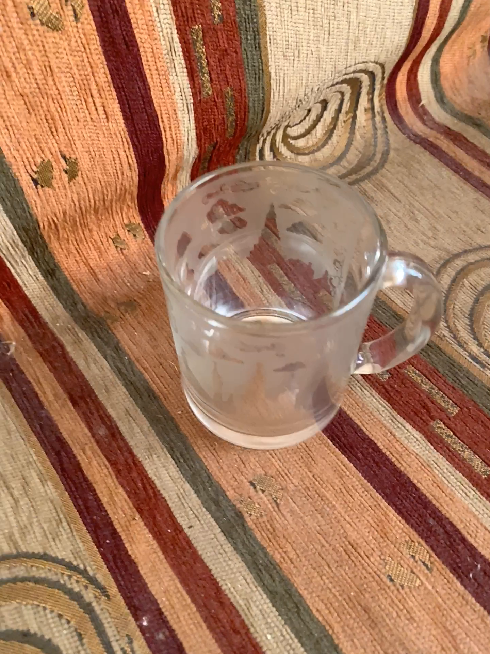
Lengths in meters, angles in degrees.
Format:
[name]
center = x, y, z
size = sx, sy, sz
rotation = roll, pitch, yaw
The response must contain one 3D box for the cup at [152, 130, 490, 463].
[cup]
center = 0.028, -0.010, 0.201
size = 0.115, 0.087, 0.085
rotation = -6, 53, -3
